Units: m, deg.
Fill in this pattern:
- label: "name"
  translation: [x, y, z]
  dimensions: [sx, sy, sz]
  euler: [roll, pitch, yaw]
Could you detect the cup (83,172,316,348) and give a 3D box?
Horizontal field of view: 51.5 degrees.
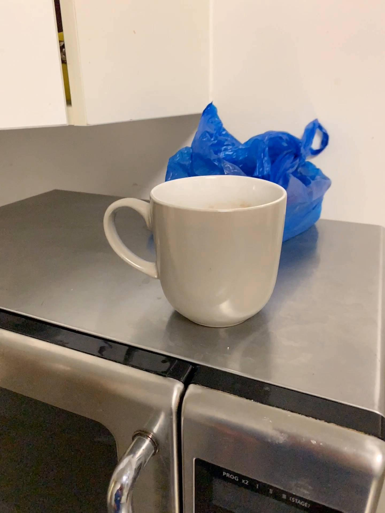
- label: "cup"
  translation: [0.010, -0.008, 0.280]
  dimensions: [0.129, 0.077, 0.094]
  euler: [8, 25, 23]
